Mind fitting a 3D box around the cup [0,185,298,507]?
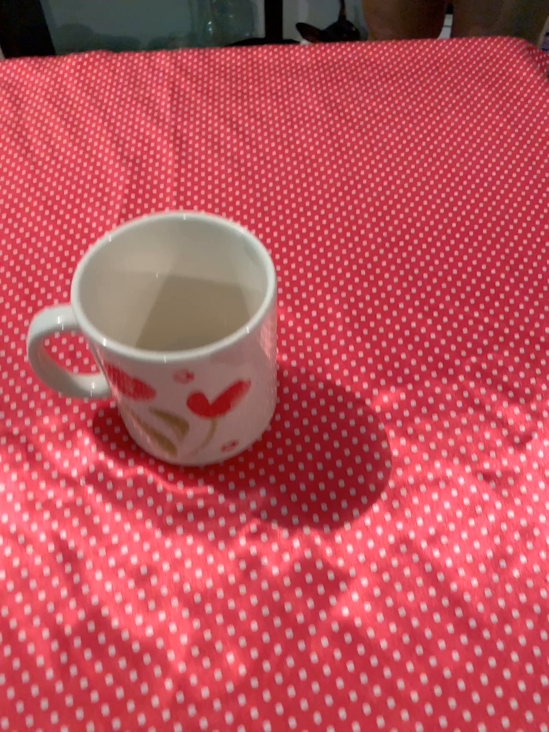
[{"bbox_3d":[-0.059,-0.008,0.253,0.120,0.090,0.090,-9,55,-6],"label":"cup"}]
